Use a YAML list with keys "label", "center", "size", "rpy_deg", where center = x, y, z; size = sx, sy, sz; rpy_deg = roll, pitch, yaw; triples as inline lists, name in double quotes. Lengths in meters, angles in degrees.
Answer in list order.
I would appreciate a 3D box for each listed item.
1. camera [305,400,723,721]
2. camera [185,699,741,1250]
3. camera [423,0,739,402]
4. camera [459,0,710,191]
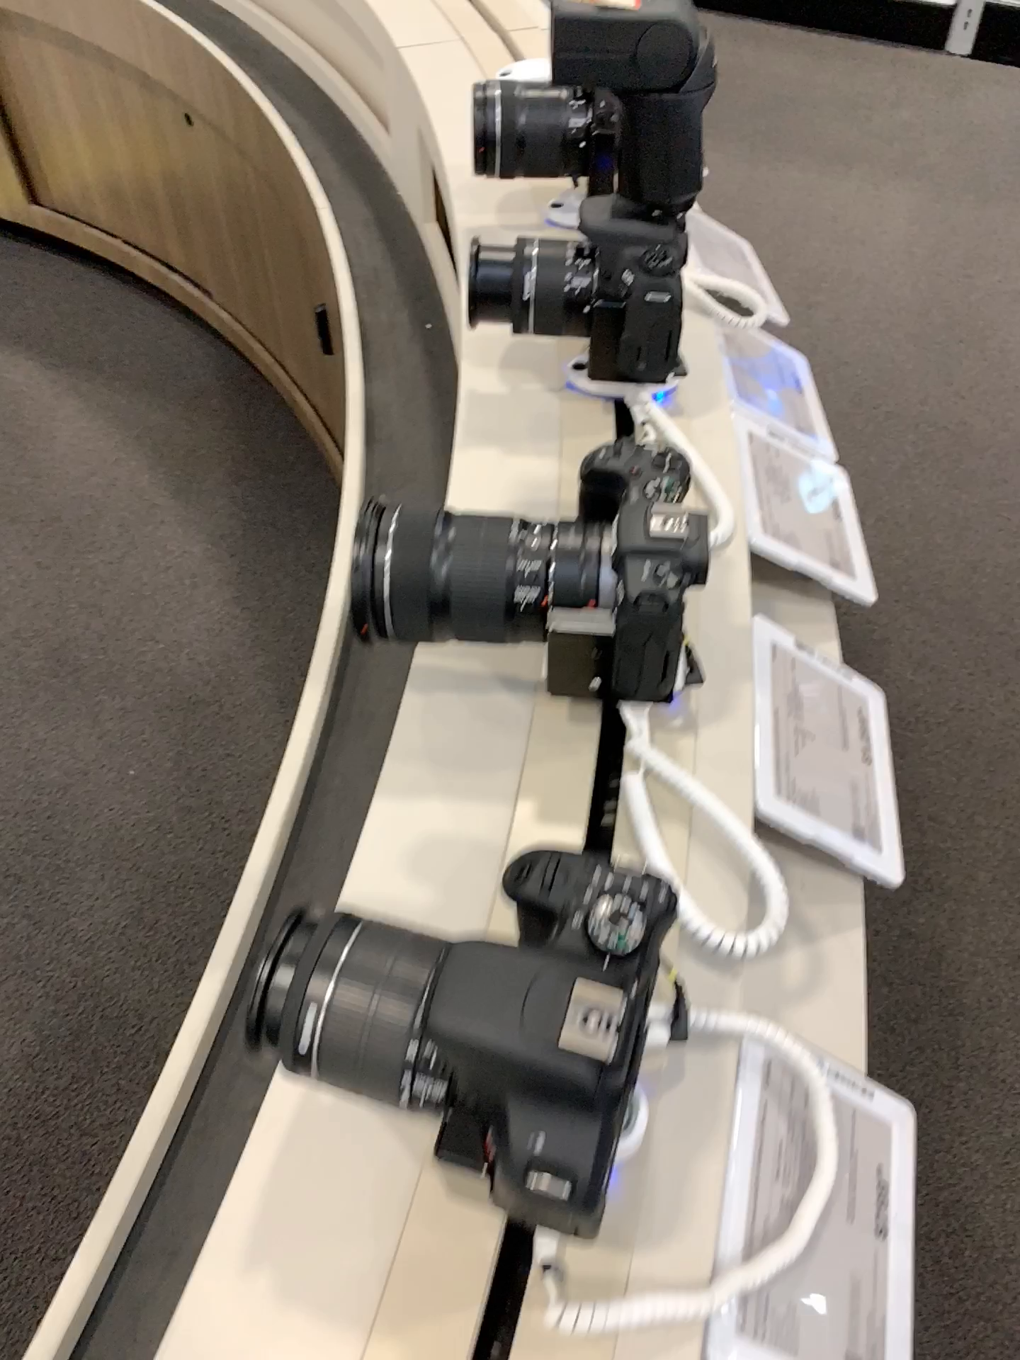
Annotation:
- label: "camera"
  center: [0.007, -0.068, 0.581]
  size: [0.200, 0.100, 0.141]
  rpy_deg: [3, 52, 4]
- label: "camera"
  center: [-0.008, 0.118, 0.432]
  size: [0.170, 0.120, 0.150]
  rpy_deg: [11, 53, 10]
- label: "camera"
  center: [0.044, -0.324, 0.696]
  size: [0.170, 0.219, 0.151]
  rpy_deg: [2, 52, 3]
- label: "camera"
  center: [0.056, -0.499, 0.879]
  size: [0.190, 0.100, 0.141]
  rpy_deg: [-2, 52, 0]
